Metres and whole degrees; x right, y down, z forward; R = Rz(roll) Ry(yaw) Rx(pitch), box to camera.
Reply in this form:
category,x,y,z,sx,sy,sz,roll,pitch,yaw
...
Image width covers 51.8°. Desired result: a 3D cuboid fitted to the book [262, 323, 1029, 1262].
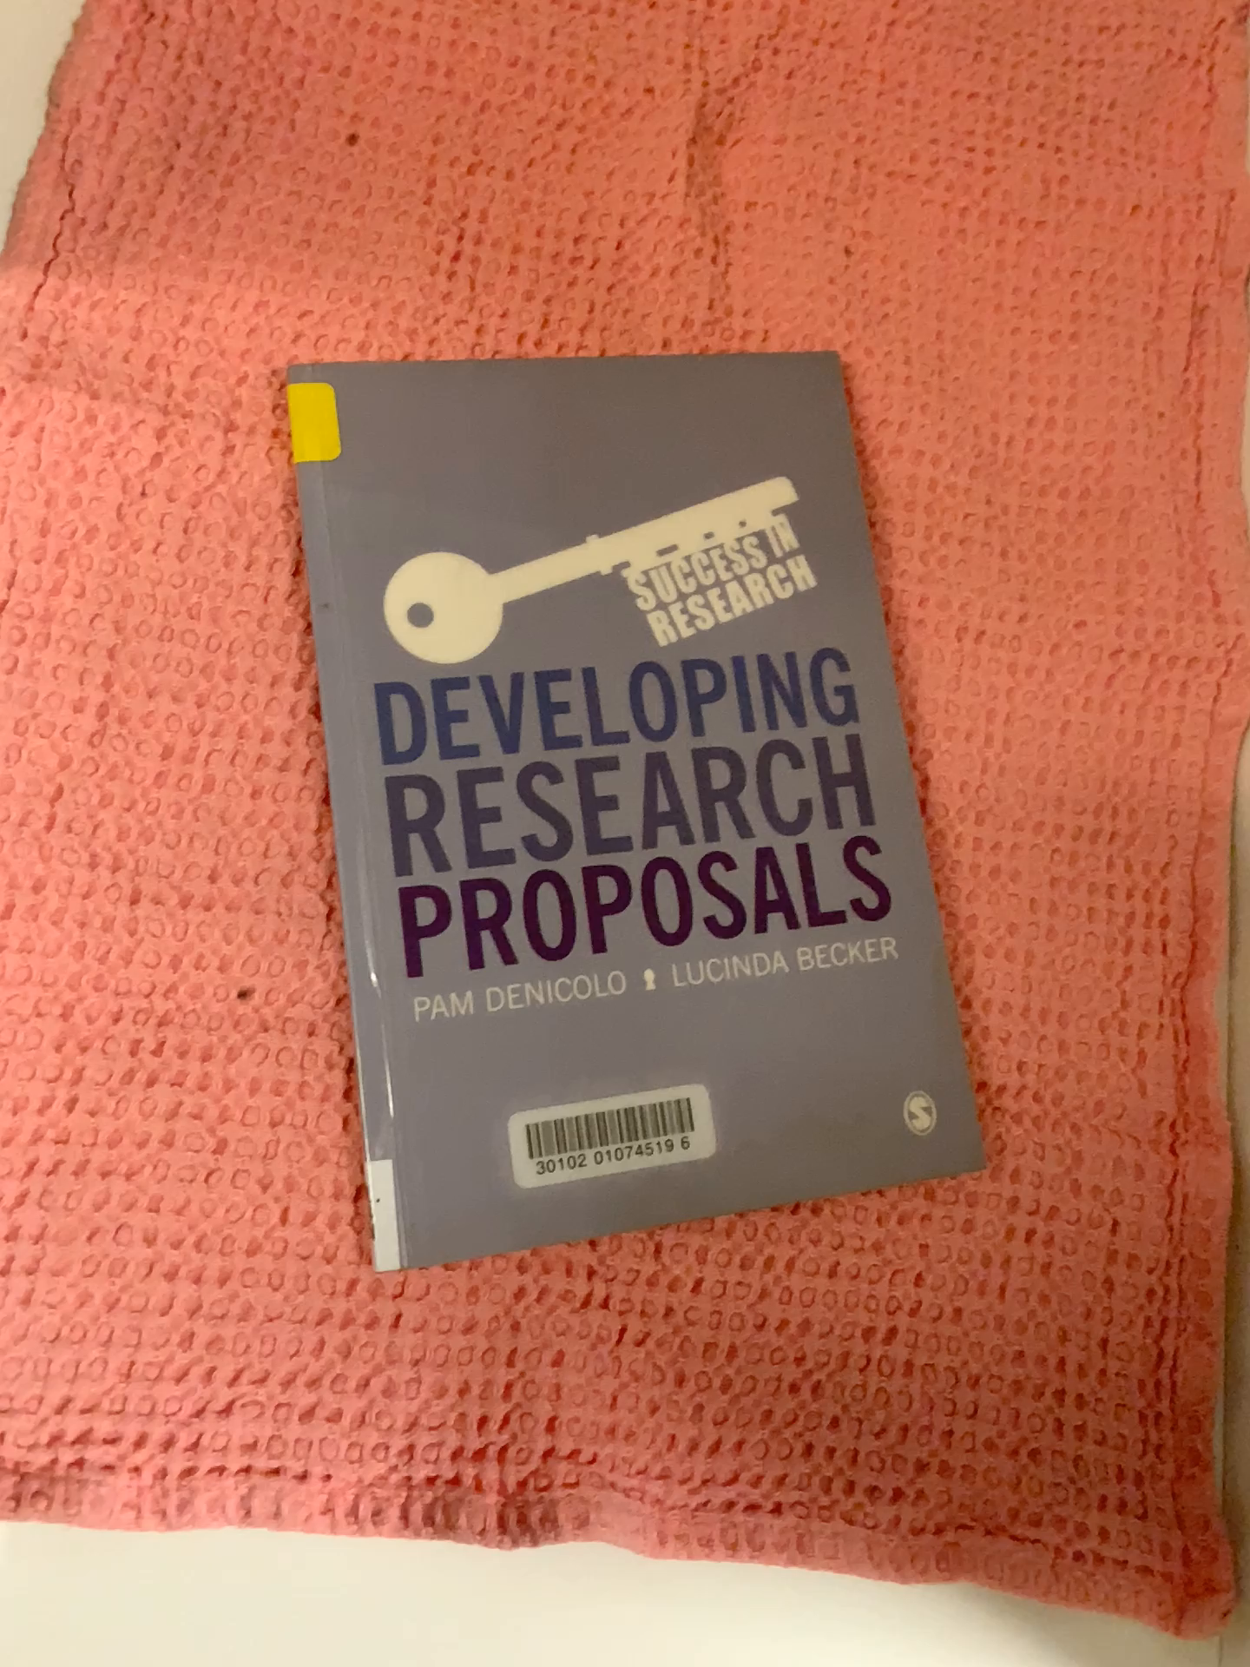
category,x,y,z,sx,sy,sz,roll,pitch,yaw
book,0.003,-0.023,0.337,0.165,0.015,0.230,-7,79,-13
